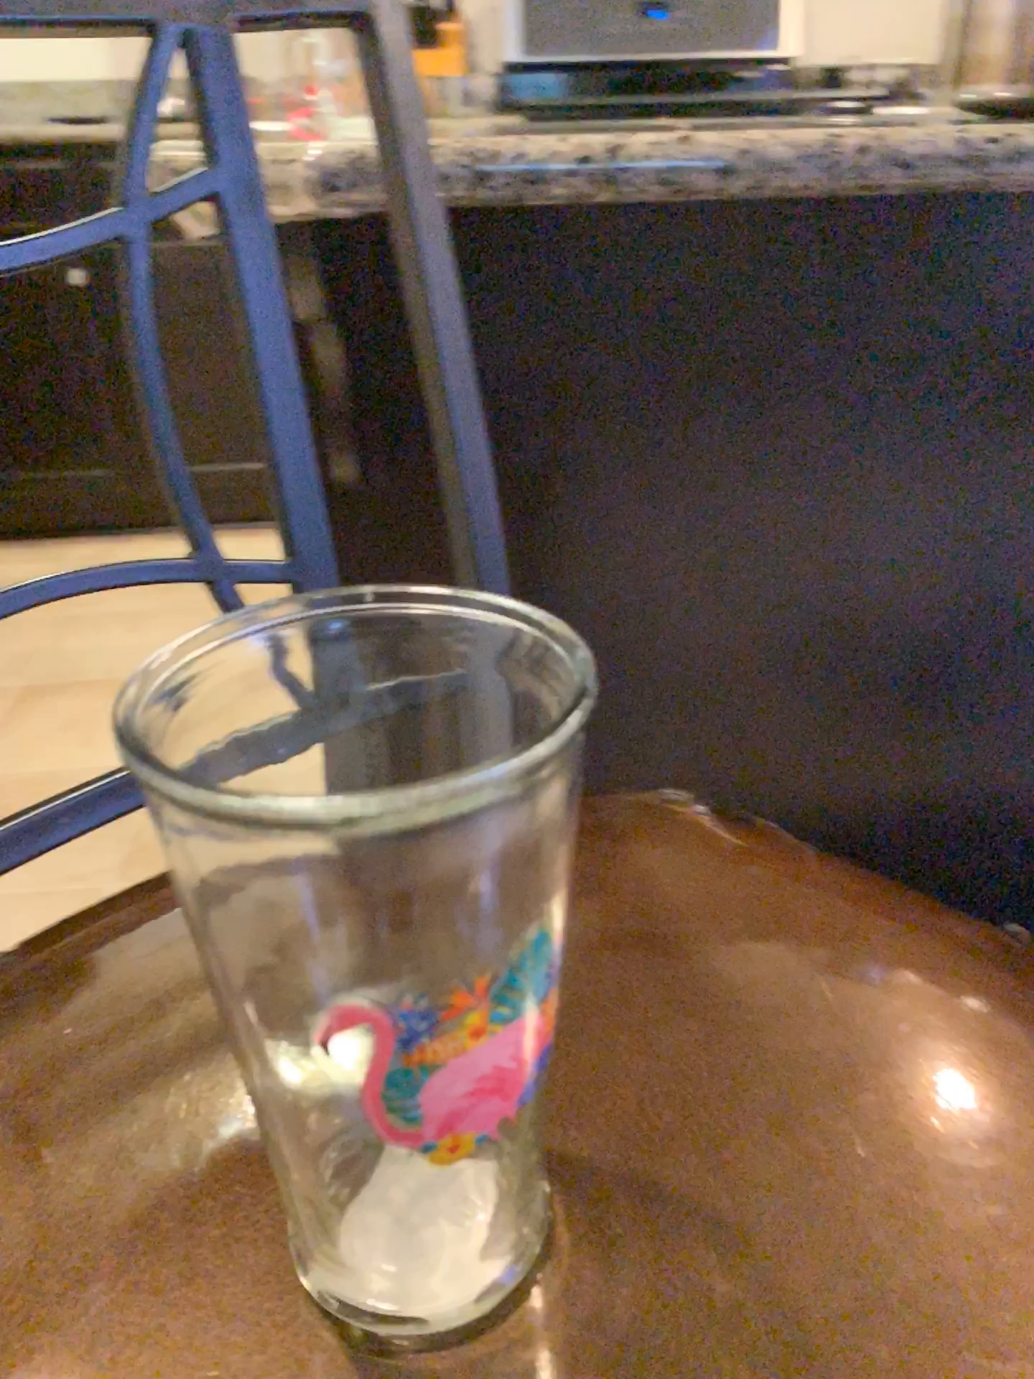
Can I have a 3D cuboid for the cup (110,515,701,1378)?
[{"bbox_3d":[-0.022,0.053,0.227,0.080,0.149,0.081,-1,28,0],"label":"cup"}]
